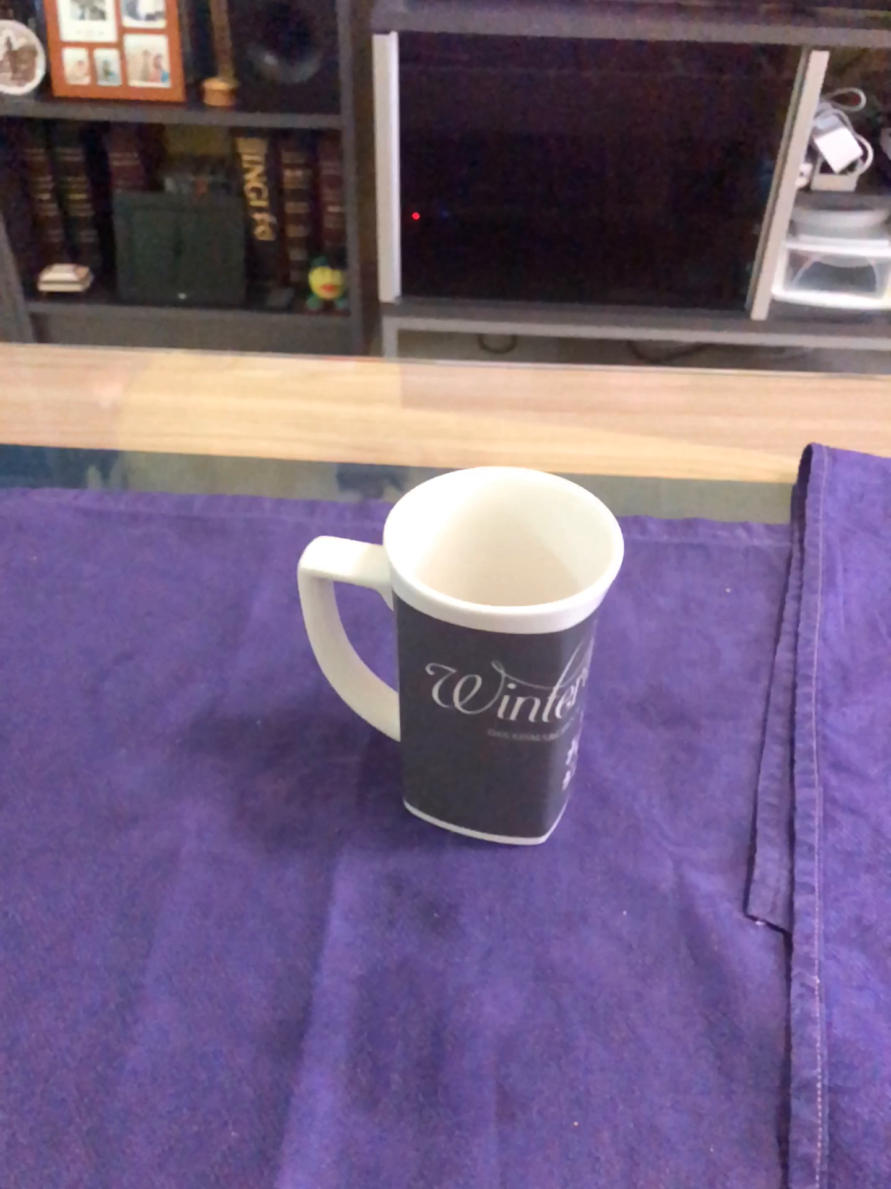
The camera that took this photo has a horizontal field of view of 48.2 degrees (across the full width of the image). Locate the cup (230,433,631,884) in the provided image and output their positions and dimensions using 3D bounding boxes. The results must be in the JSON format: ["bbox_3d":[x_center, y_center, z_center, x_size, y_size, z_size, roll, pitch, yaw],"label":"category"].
[{"bbox_3d":[-0.002,0.020,0.323,0.100,0.109,0.070,11,41,12],"label":"cup"}]
